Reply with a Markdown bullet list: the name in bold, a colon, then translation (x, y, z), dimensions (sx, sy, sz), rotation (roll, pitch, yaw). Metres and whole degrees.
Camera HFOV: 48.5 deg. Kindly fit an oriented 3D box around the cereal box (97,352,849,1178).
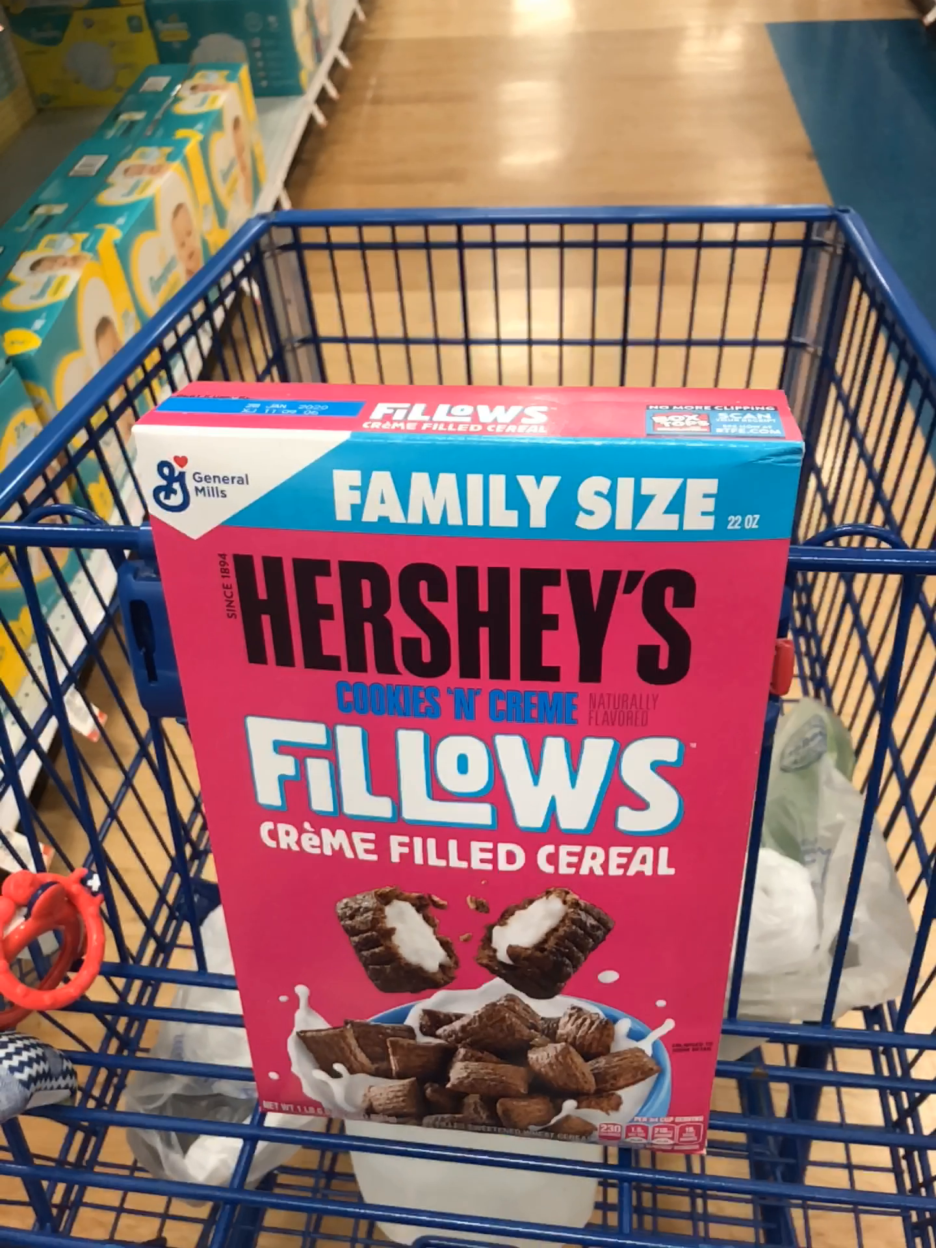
- **cereal box**: translation (0.003, 0.062, 0.369), dimensions (0.200, 0.300, 0.060), rotation (2, 27, 7)
